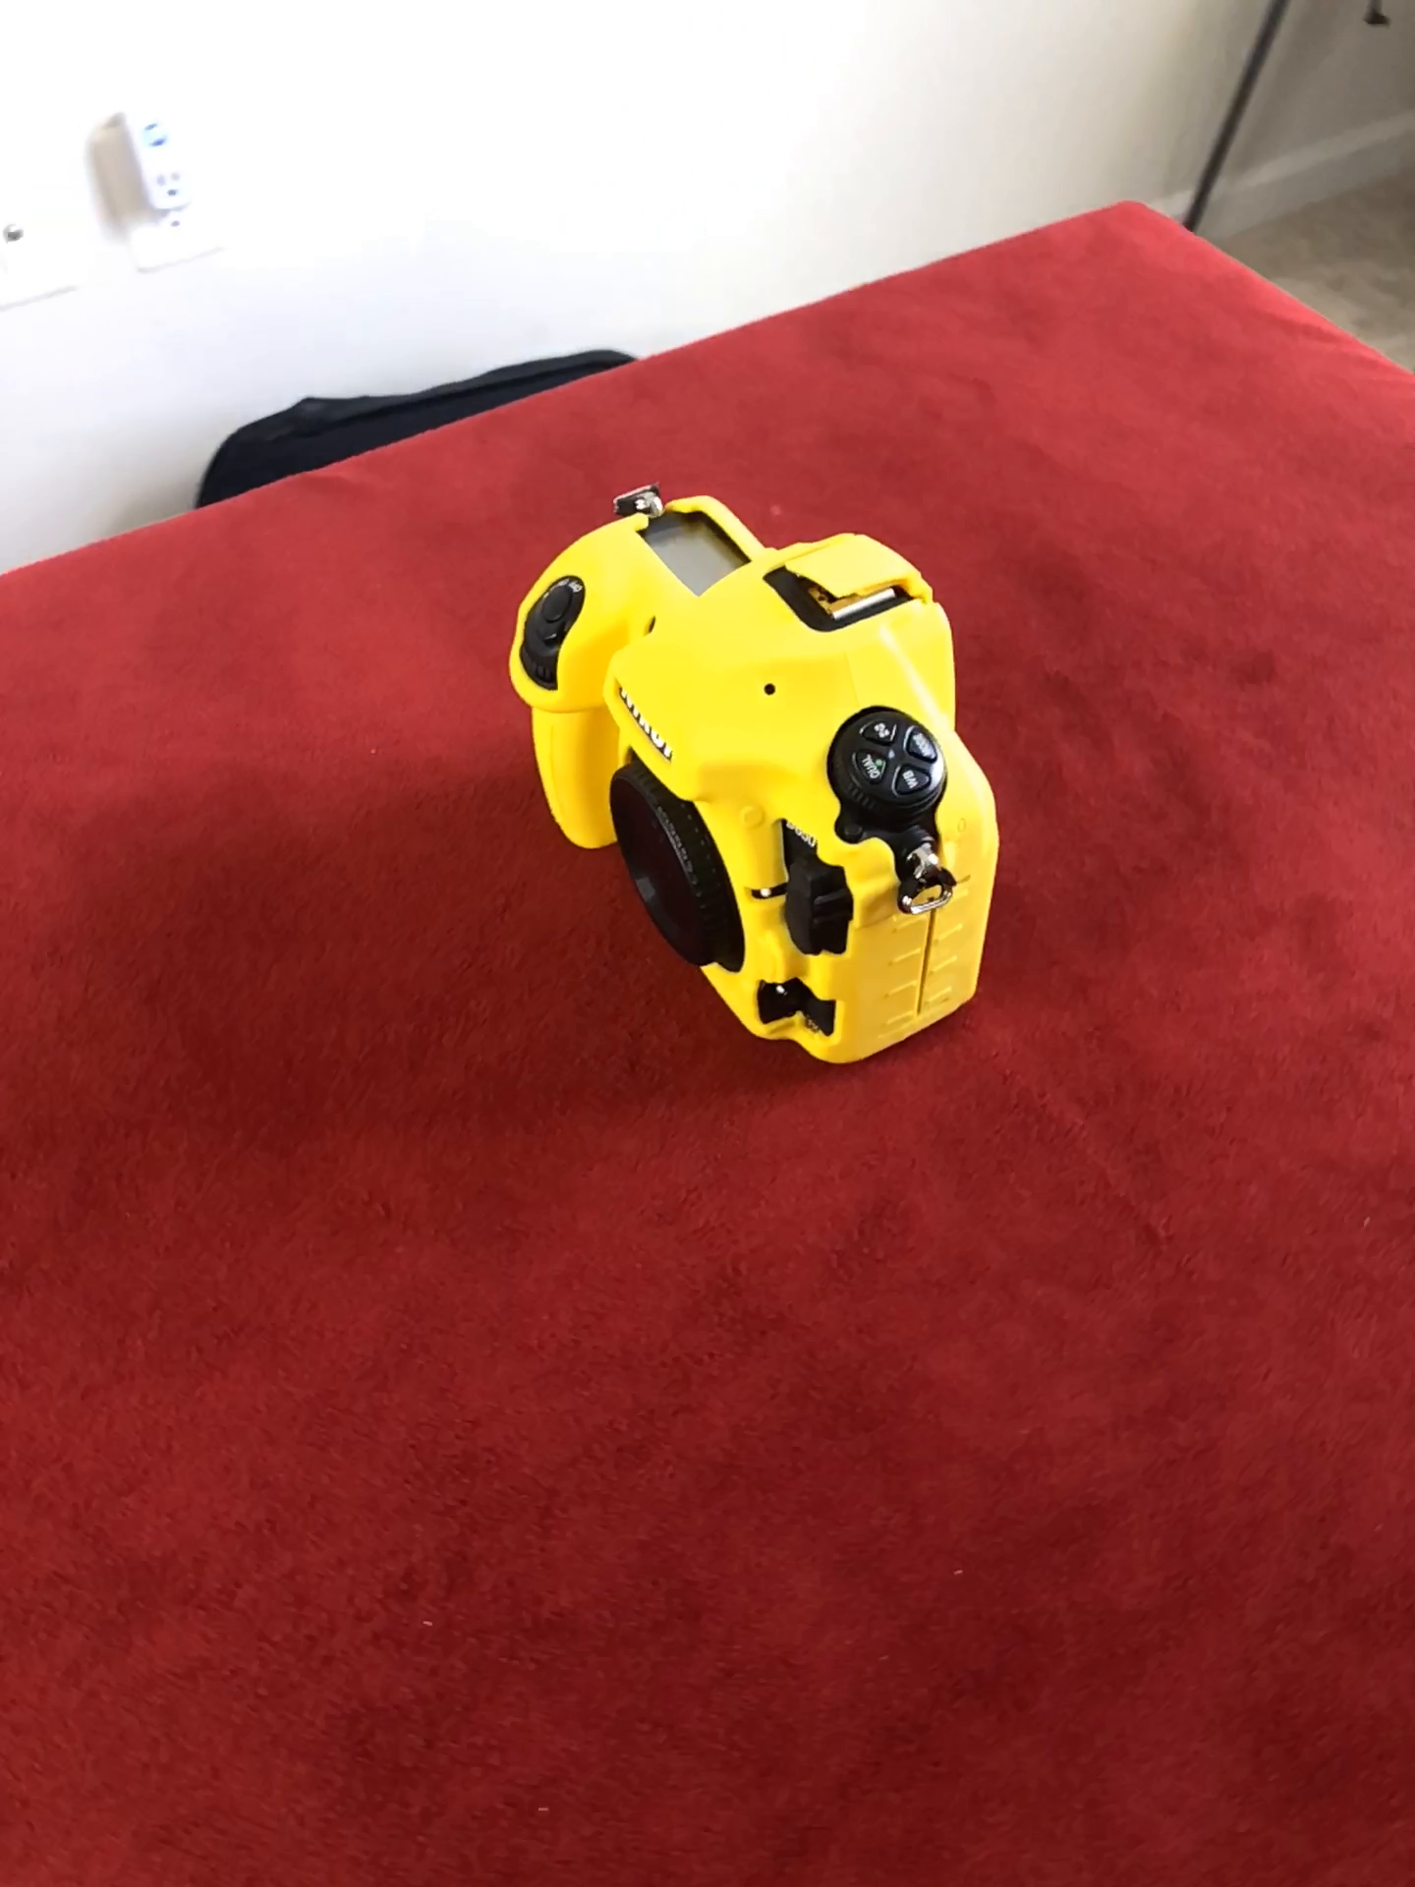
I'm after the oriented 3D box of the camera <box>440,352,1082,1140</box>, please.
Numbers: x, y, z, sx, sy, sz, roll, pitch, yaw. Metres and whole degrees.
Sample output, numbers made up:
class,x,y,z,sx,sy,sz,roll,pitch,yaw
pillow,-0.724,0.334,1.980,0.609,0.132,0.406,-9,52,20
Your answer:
class,x,y,z,sx,sy,sz,roll,pitch,yaw
camera,0.008,-0.055,0.419,0.082,0.116,0.161,-25,55,-17
